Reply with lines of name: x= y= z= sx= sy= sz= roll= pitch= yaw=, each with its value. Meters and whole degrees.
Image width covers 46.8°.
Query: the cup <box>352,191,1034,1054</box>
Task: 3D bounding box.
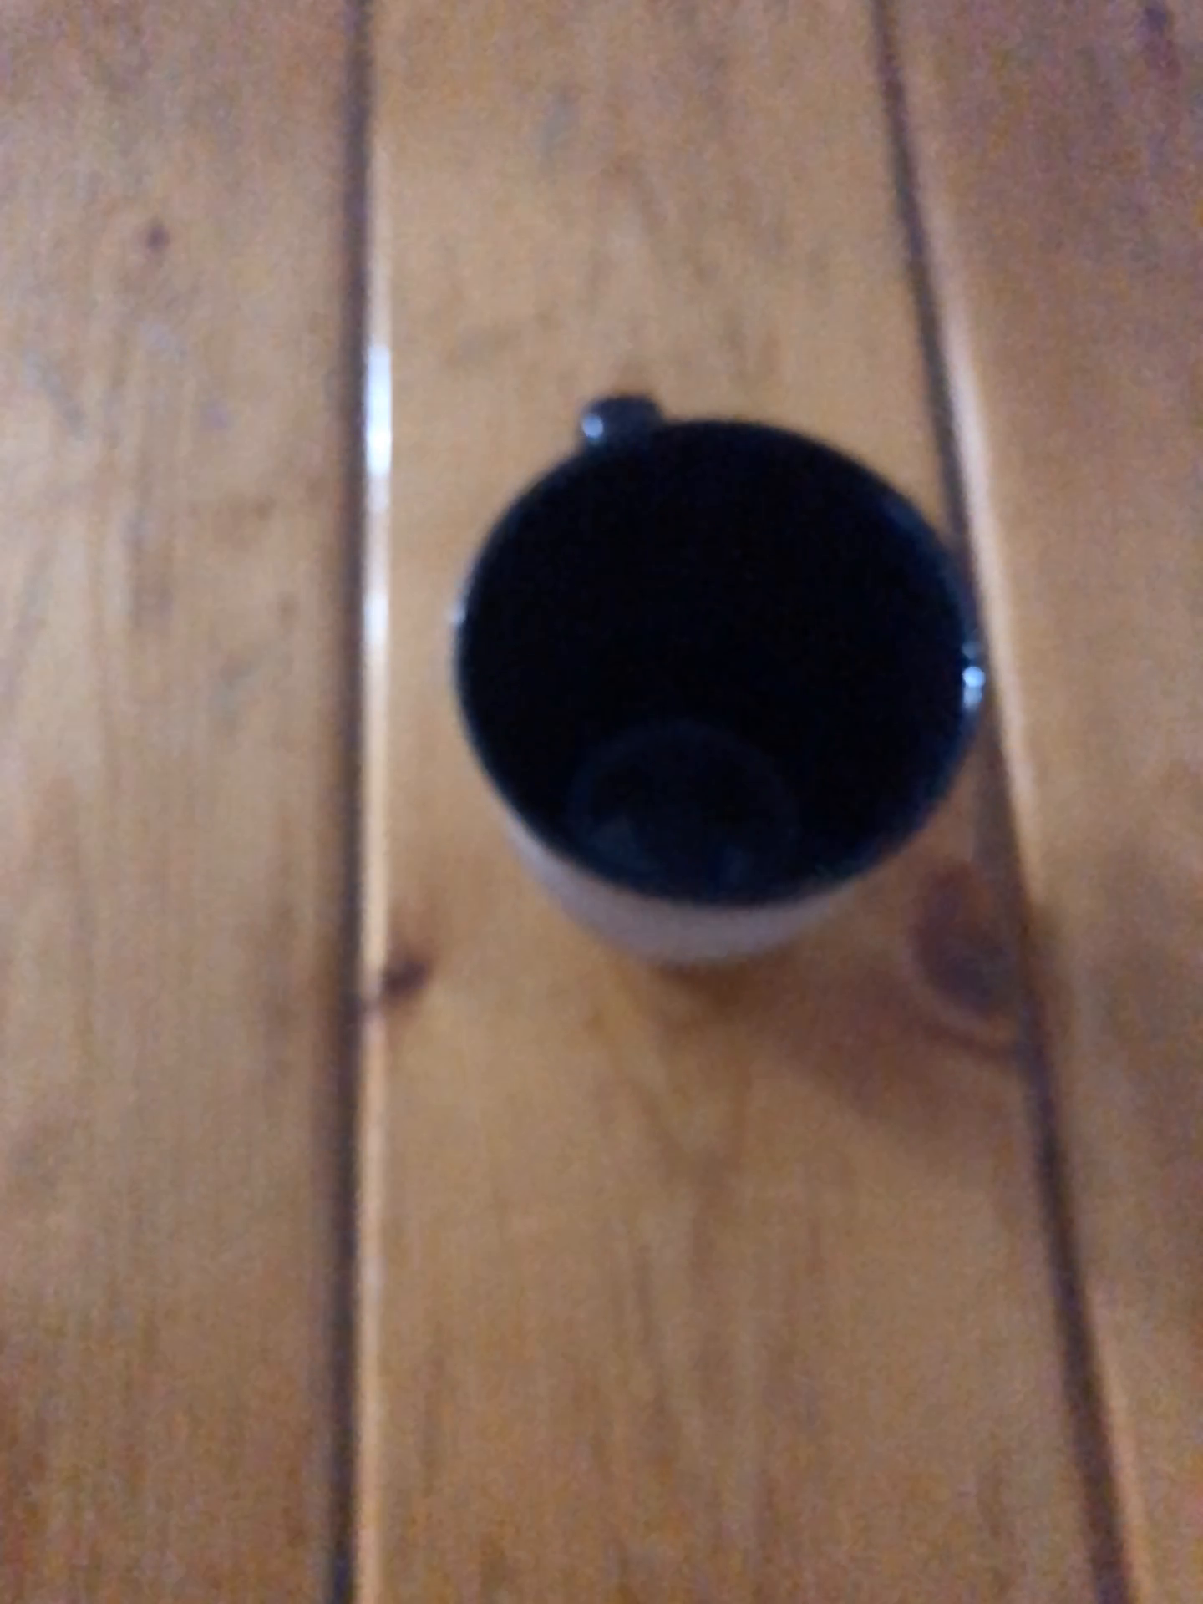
cup: x=0.013 y=-0.031 z=0.297 sx=0.100 sy=0.100 sz=0.140 roll=-9 pitch=71 yaw=-1
